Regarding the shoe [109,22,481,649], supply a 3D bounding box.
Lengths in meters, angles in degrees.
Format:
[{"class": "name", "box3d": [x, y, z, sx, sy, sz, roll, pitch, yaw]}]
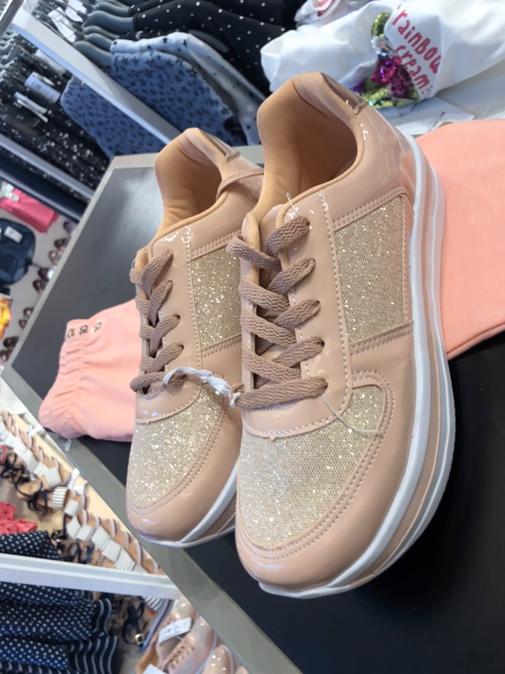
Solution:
[{"class": "shoe", "box3d": [0.029, -0.001, 0.244, 0.090, 0.089, 0.220, -10, 61, 45]}]

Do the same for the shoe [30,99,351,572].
[{"class": "shoe", "box3d": [-0.025, 0.002, 0.317, 0.090, 0.099, 0.220, -10, 61, 45]}]
